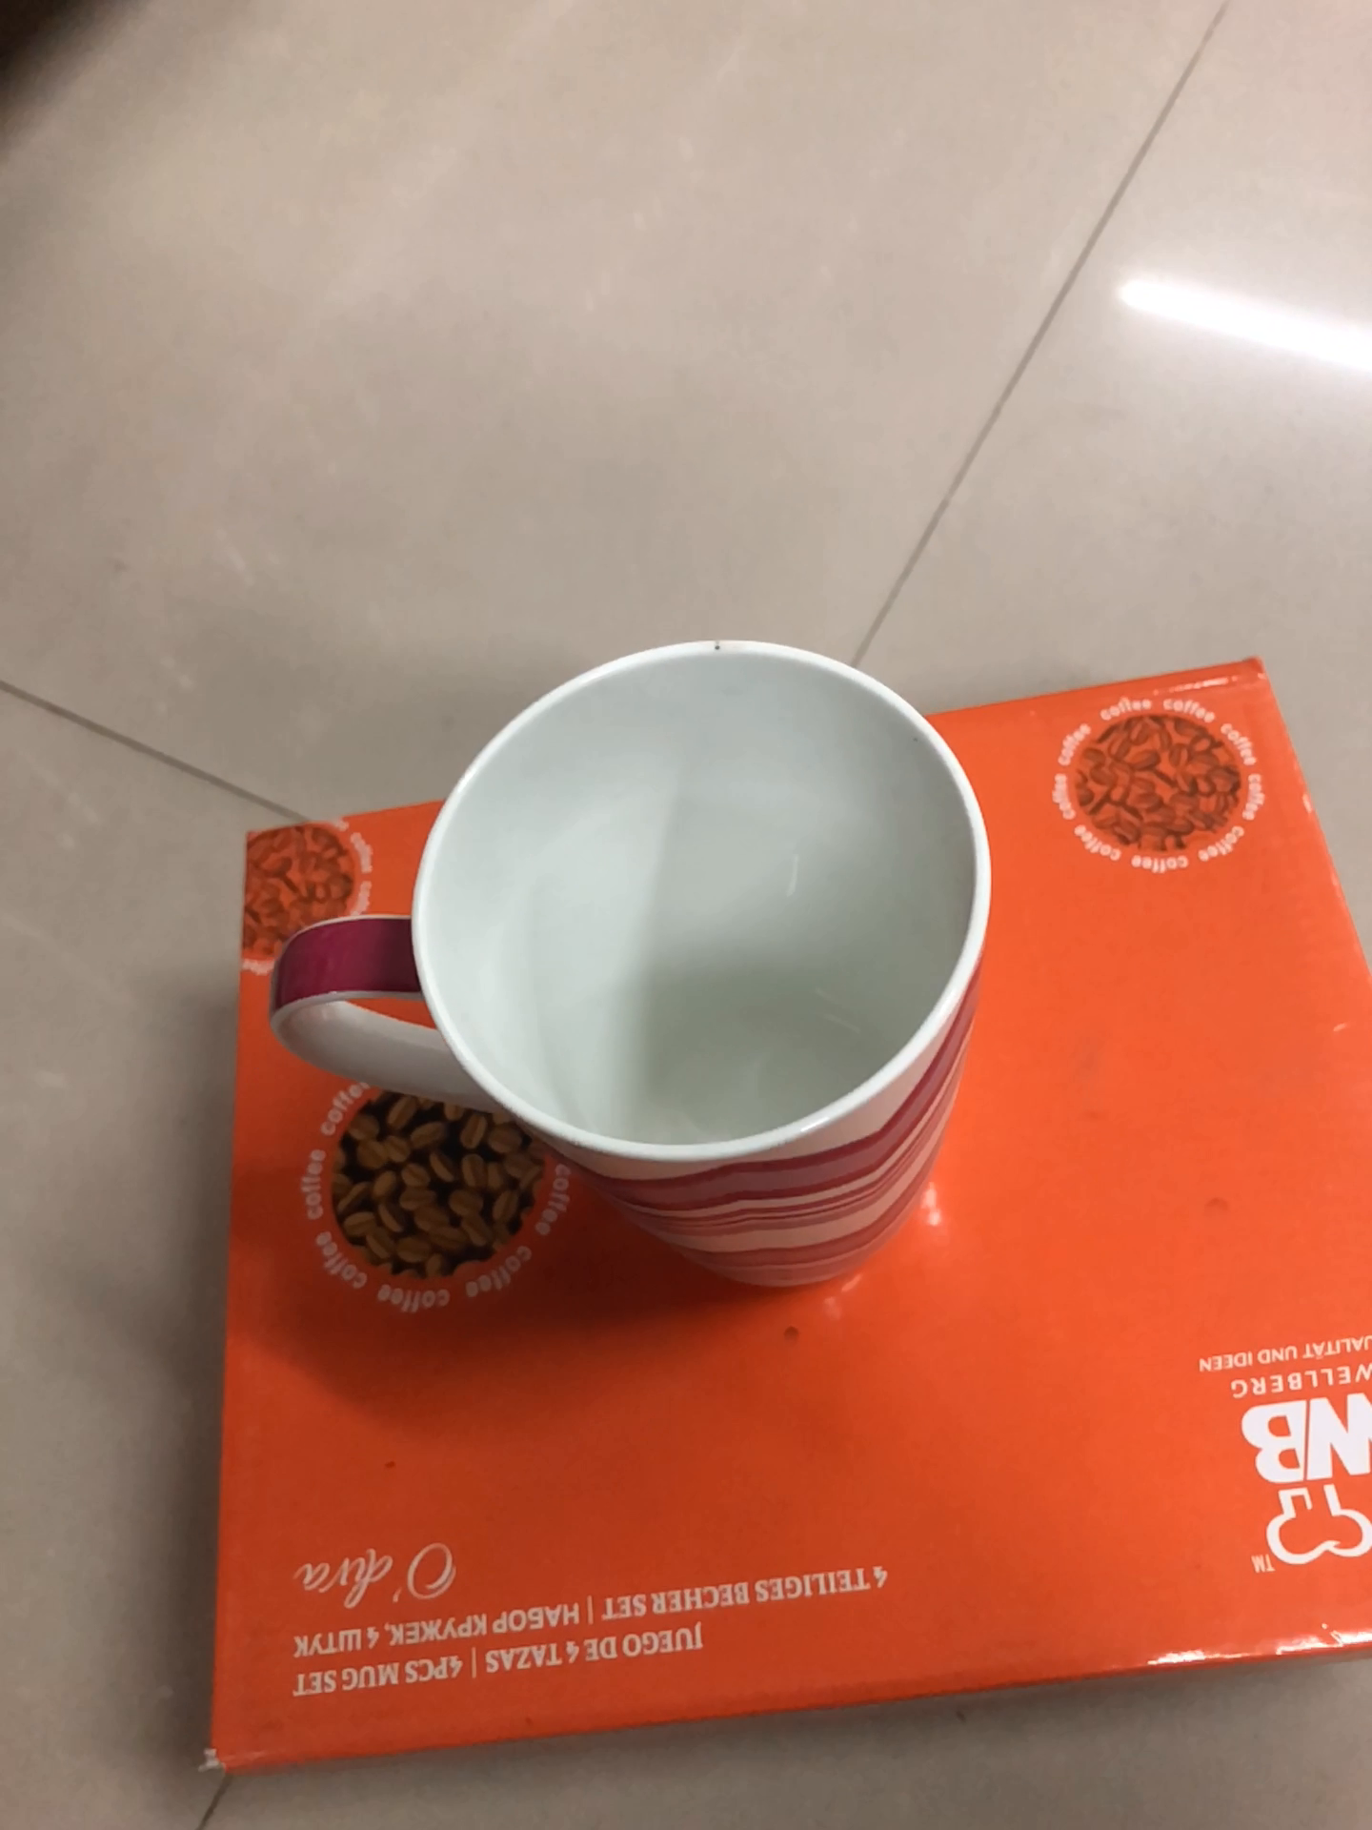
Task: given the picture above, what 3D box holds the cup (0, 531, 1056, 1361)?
[{"bbox_3d":[-0.014,0.016,0.251,0.130,0.110,0.090,-4,64,8],"label":"cup"}]
